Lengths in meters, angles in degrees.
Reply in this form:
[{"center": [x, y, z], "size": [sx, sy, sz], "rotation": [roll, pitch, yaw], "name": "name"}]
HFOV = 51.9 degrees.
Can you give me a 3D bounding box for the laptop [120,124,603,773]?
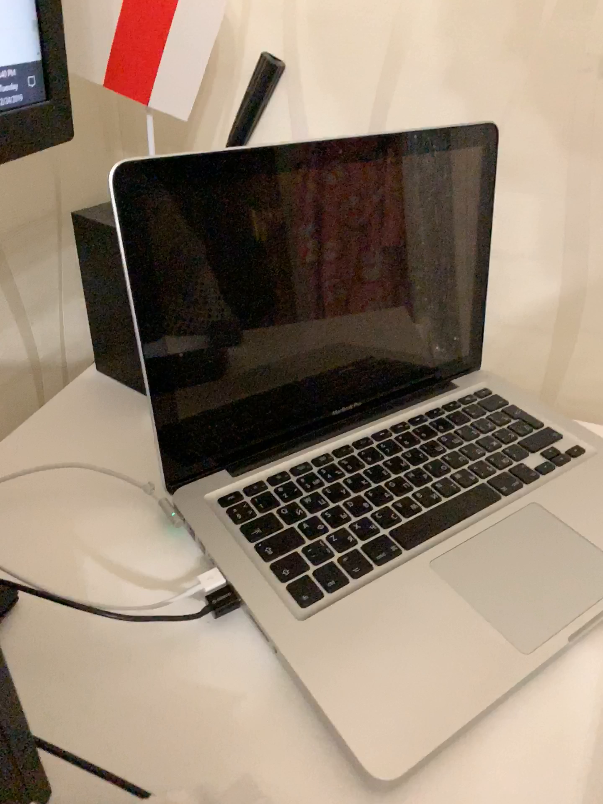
[{"center": [0.094, -0.027, 0.376], "size": [0.301, 0.196, 0.250], "rotation": [-20, 40, -30], "name": "laptop"}]
